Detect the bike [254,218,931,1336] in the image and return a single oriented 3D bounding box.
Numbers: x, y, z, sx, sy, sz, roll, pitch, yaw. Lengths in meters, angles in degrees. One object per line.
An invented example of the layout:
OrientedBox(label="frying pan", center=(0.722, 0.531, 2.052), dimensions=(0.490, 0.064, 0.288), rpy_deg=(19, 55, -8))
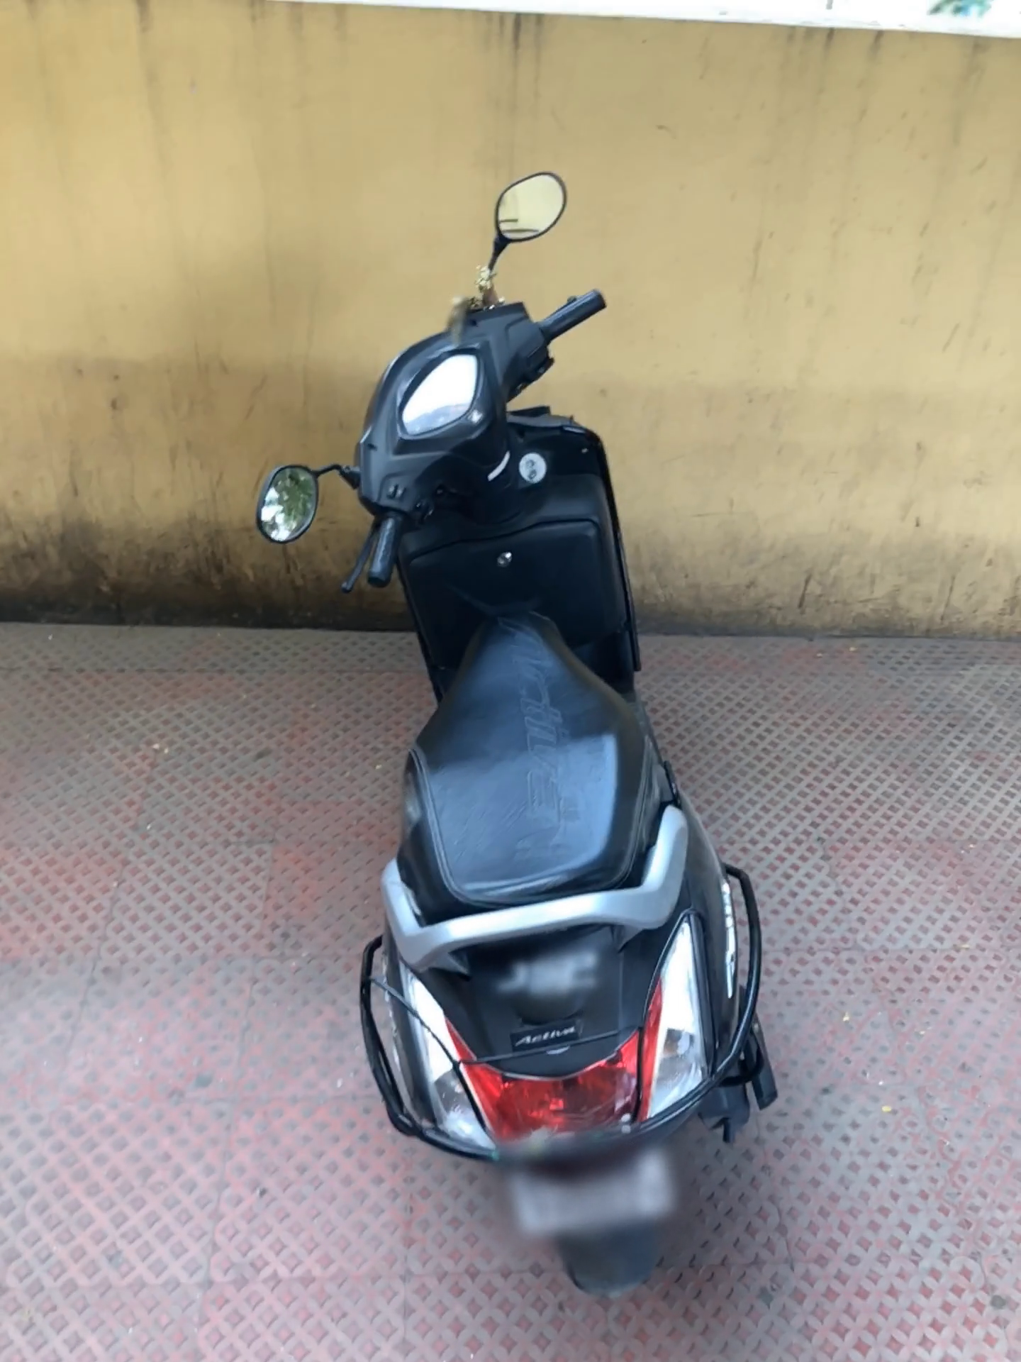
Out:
OrientedBox(label="bike", center=(-0.058, -0.013, 1.895), dimensions=(0.593, 1.045, 1.592), rpy_deg=(-3, 38, -8))
